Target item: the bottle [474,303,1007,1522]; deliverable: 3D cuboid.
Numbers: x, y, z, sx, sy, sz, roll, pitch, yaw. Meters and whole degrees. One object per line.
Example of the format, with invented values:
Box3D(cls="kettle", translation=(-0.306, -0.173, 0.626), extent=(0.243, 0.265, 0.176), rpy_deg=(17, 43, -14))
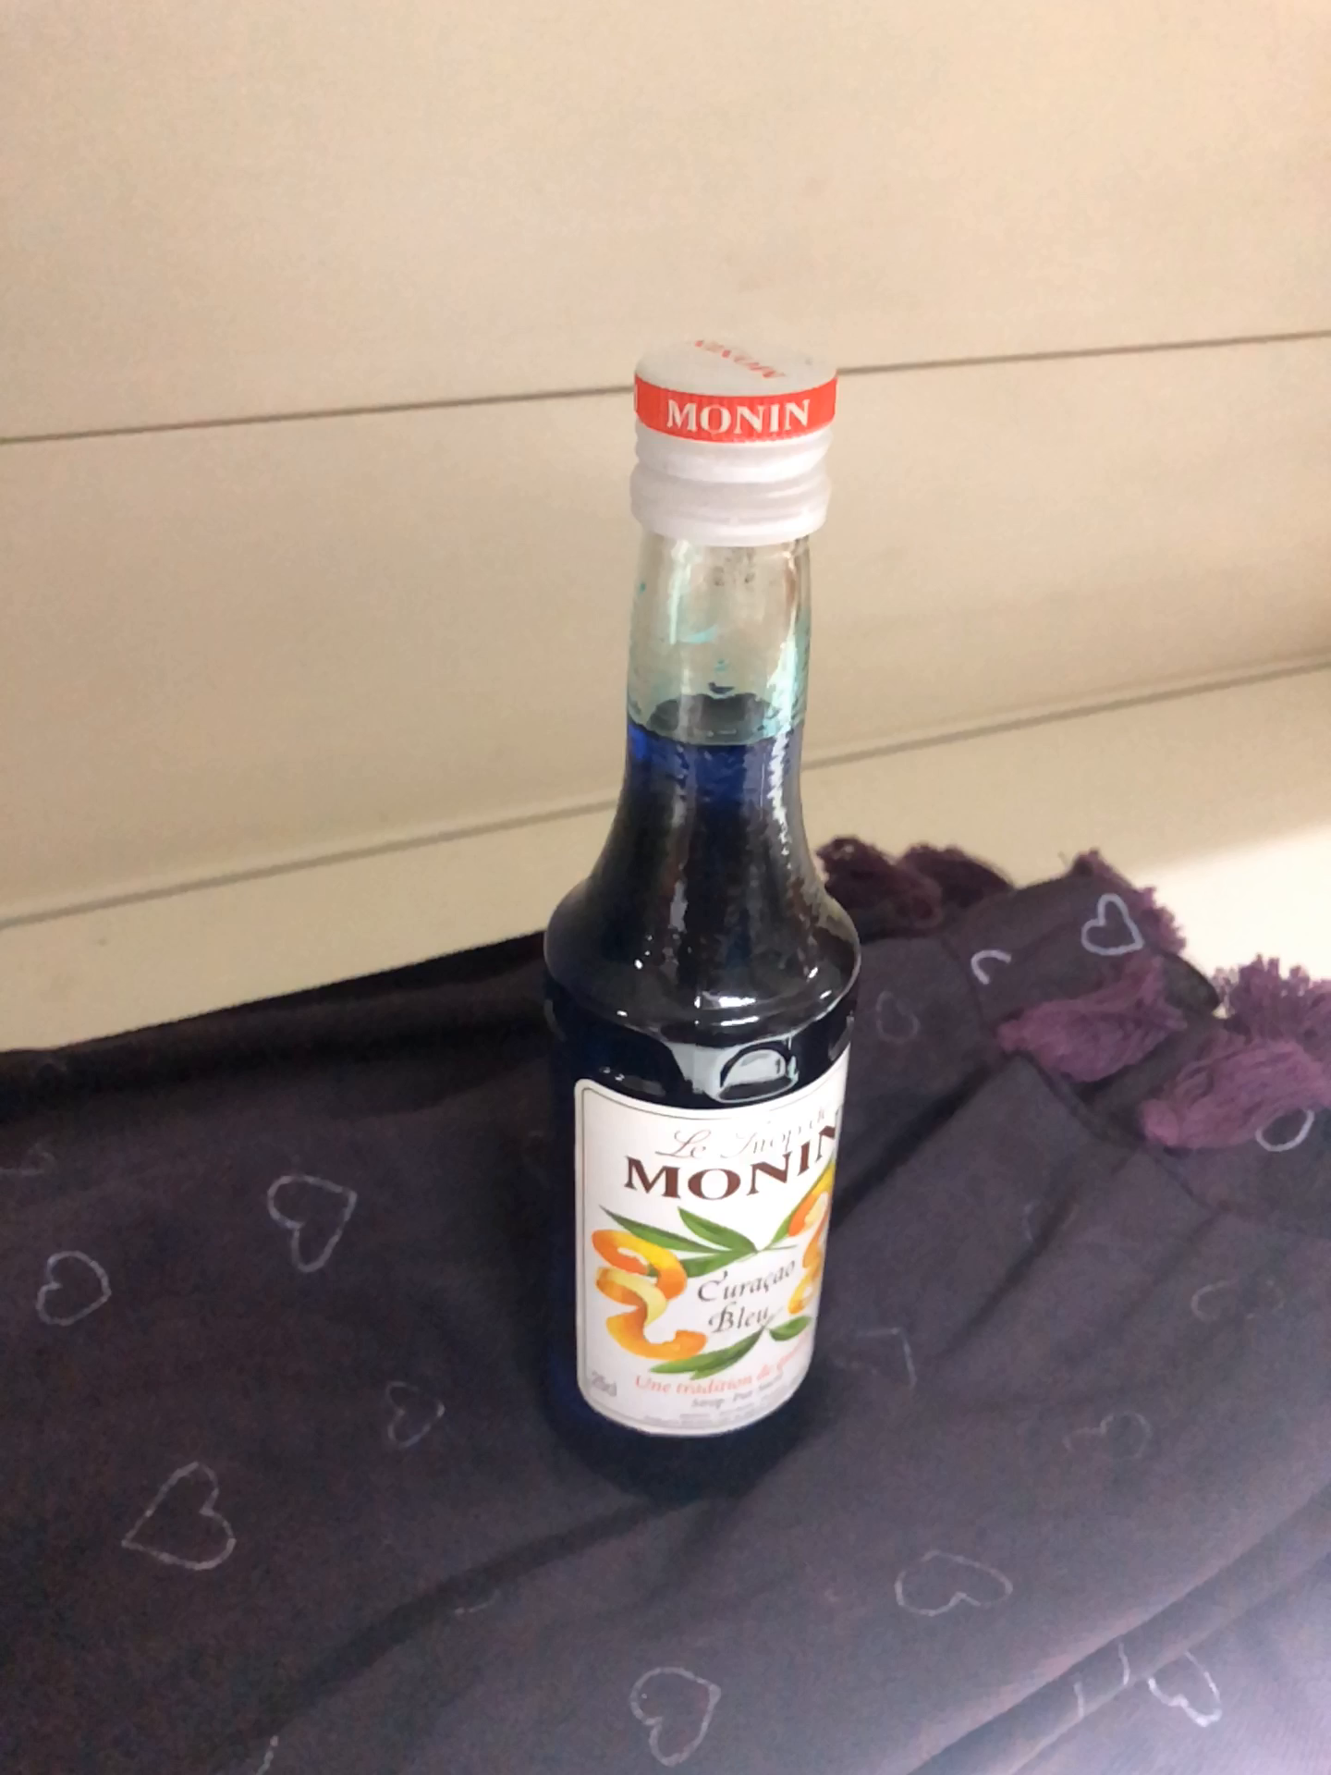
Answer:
Box3D(cls="bottle", translation=(0.007, 0.013, 0.263), extent=(0.060, 0.209, 0.050), rpy_deg=(-11, 32, -21))
